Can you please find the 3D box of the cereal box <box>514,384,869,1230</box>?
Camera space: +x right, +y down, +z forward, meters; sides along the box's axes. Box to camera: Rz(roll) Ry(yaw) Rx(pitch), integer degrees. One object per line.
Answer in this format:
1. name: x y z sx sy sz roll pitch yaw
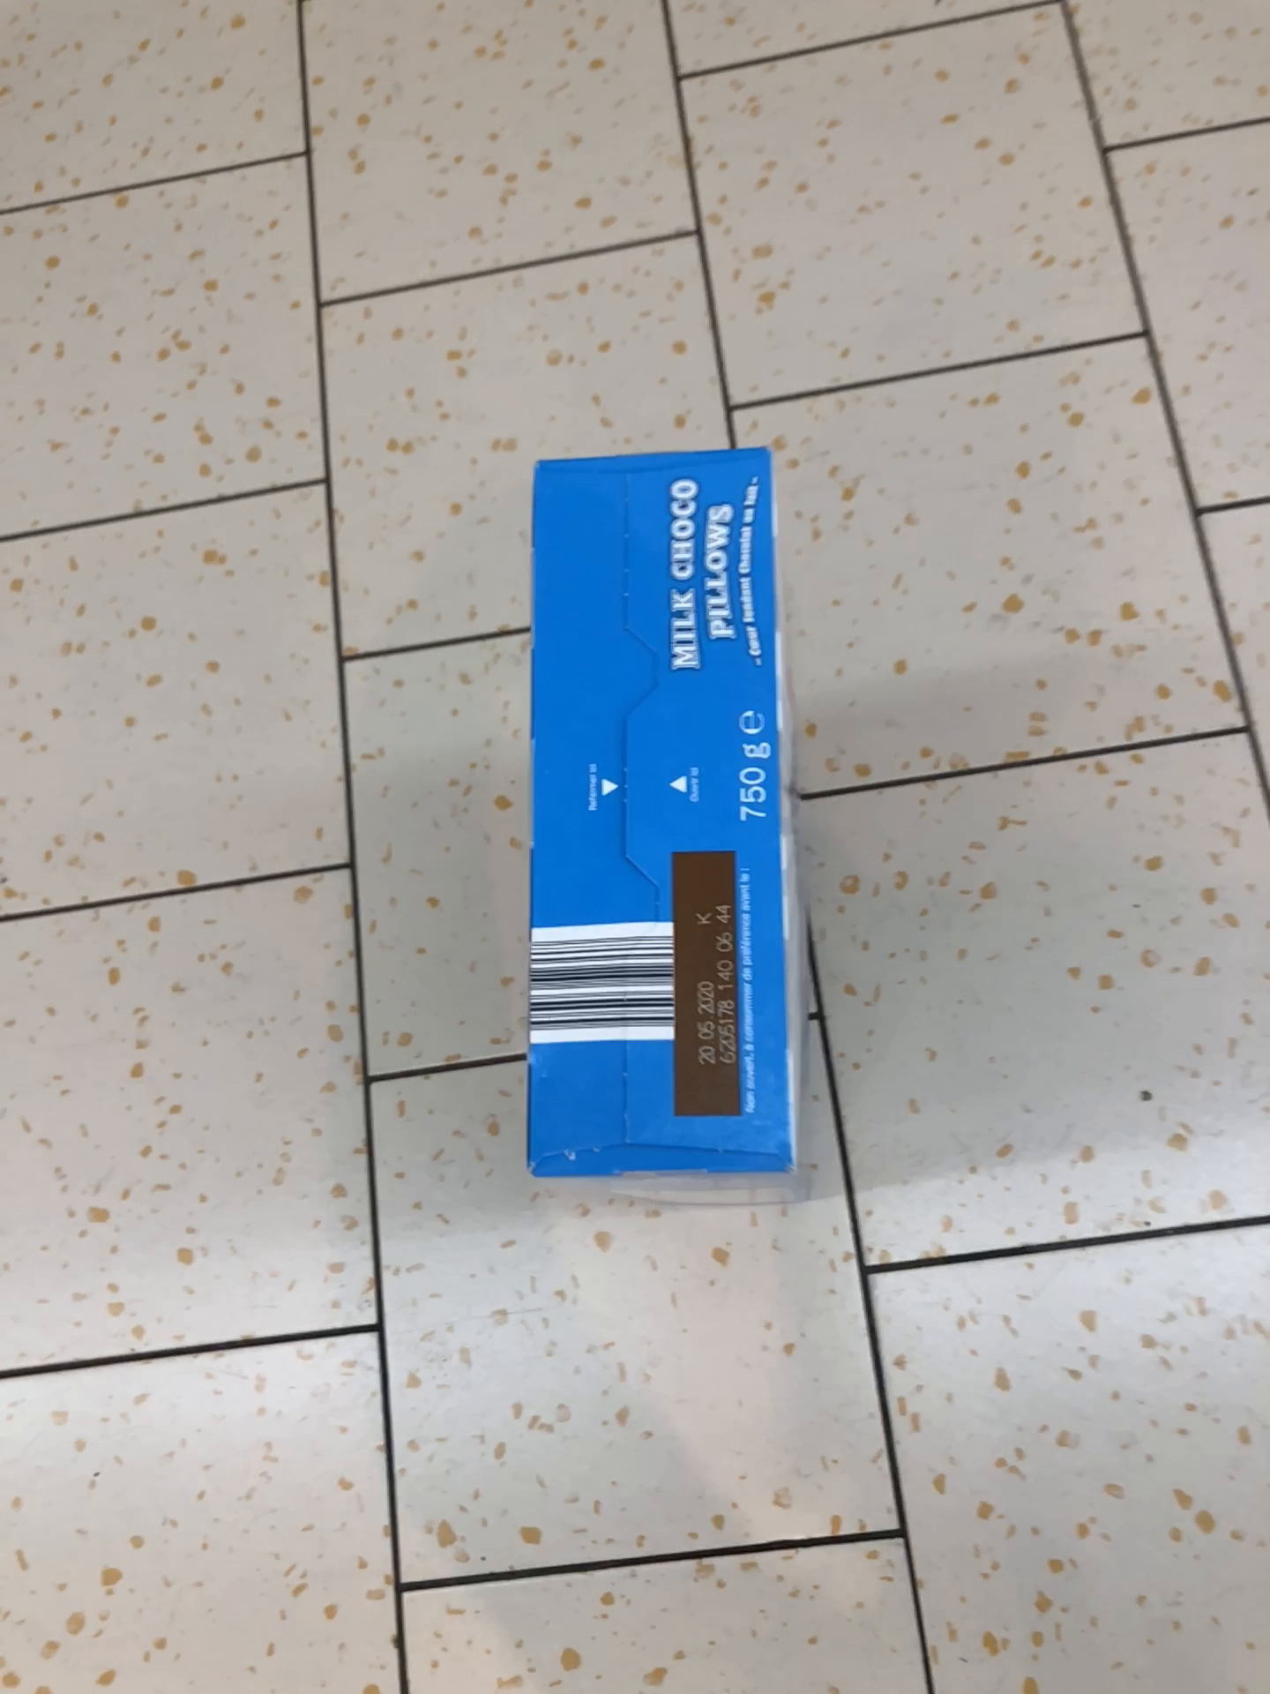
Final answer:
1. cereal box: 0.031 0.016 0.468 0.080 0.260 0.210 -1 74 8
